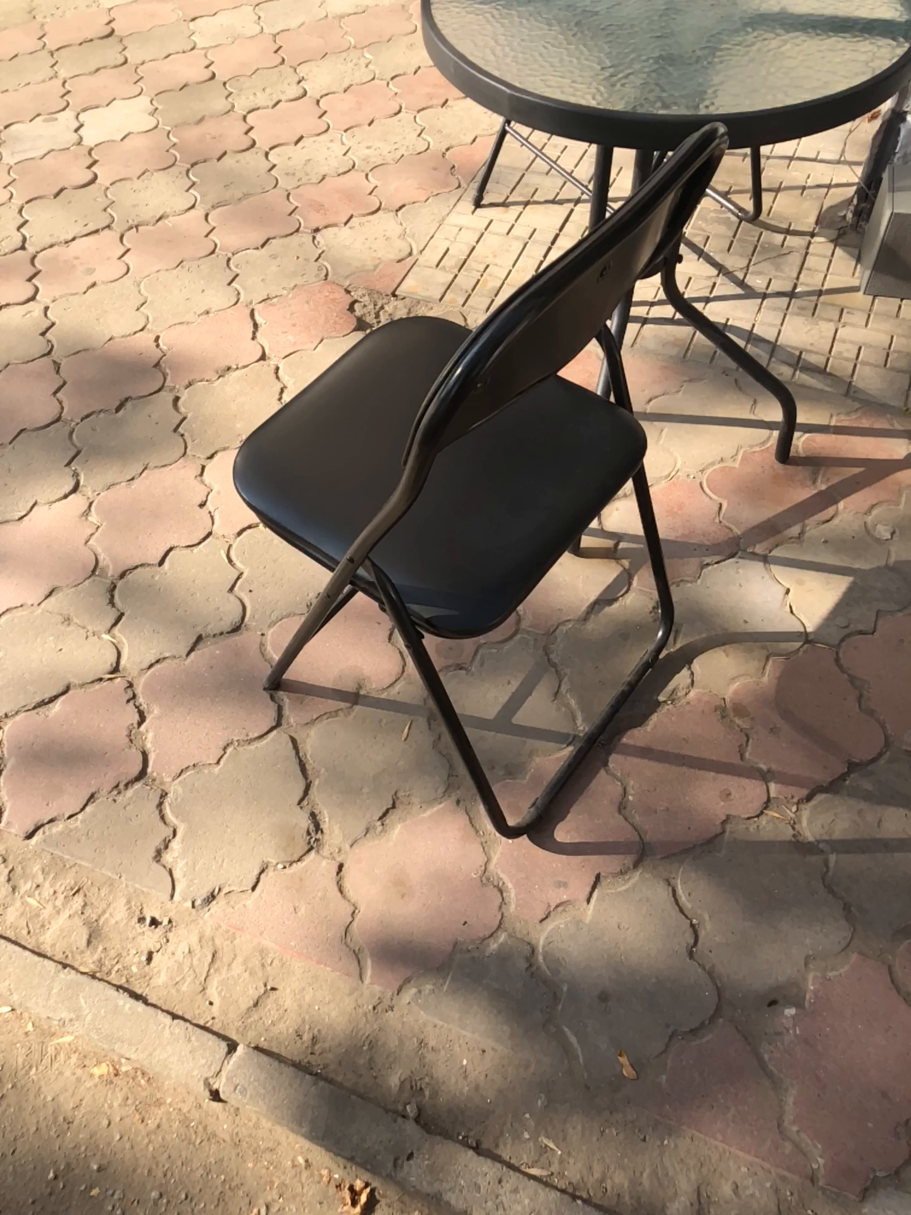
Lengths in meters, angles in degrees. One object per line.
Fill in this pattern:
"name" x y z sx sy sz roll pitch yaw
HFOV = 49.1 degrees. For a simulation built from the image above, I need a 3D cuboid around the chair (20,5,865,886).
"chair" 0.011 -0.165 1.099 0.501 0.638 0.531 29 59 22
